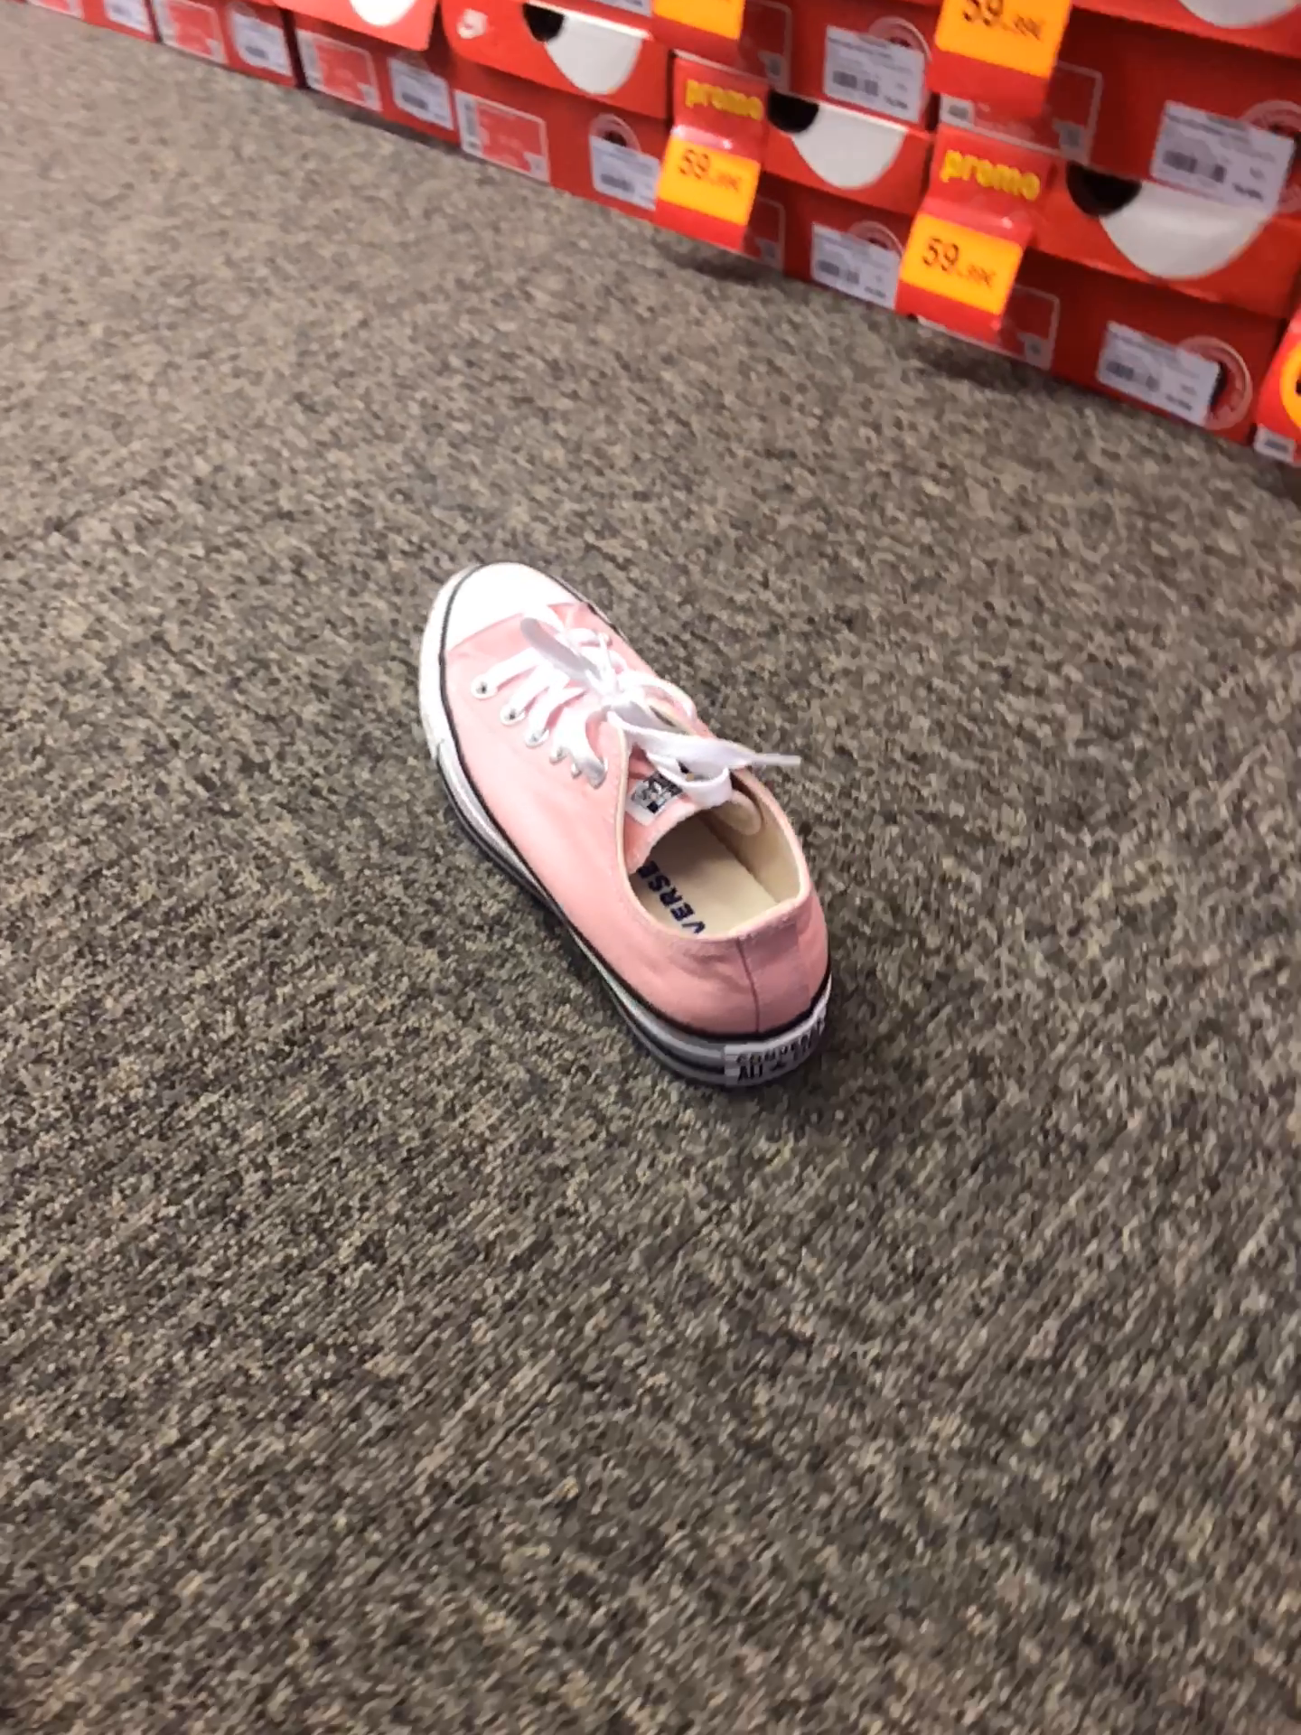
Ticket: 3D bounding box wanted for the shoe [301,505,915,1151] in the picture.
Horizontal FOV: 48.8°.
[{"bbox_3d":[-0.029,-0.035,0.525,0.100,0.060,0.281,-23,45,-18],"label":"shoe"}]
